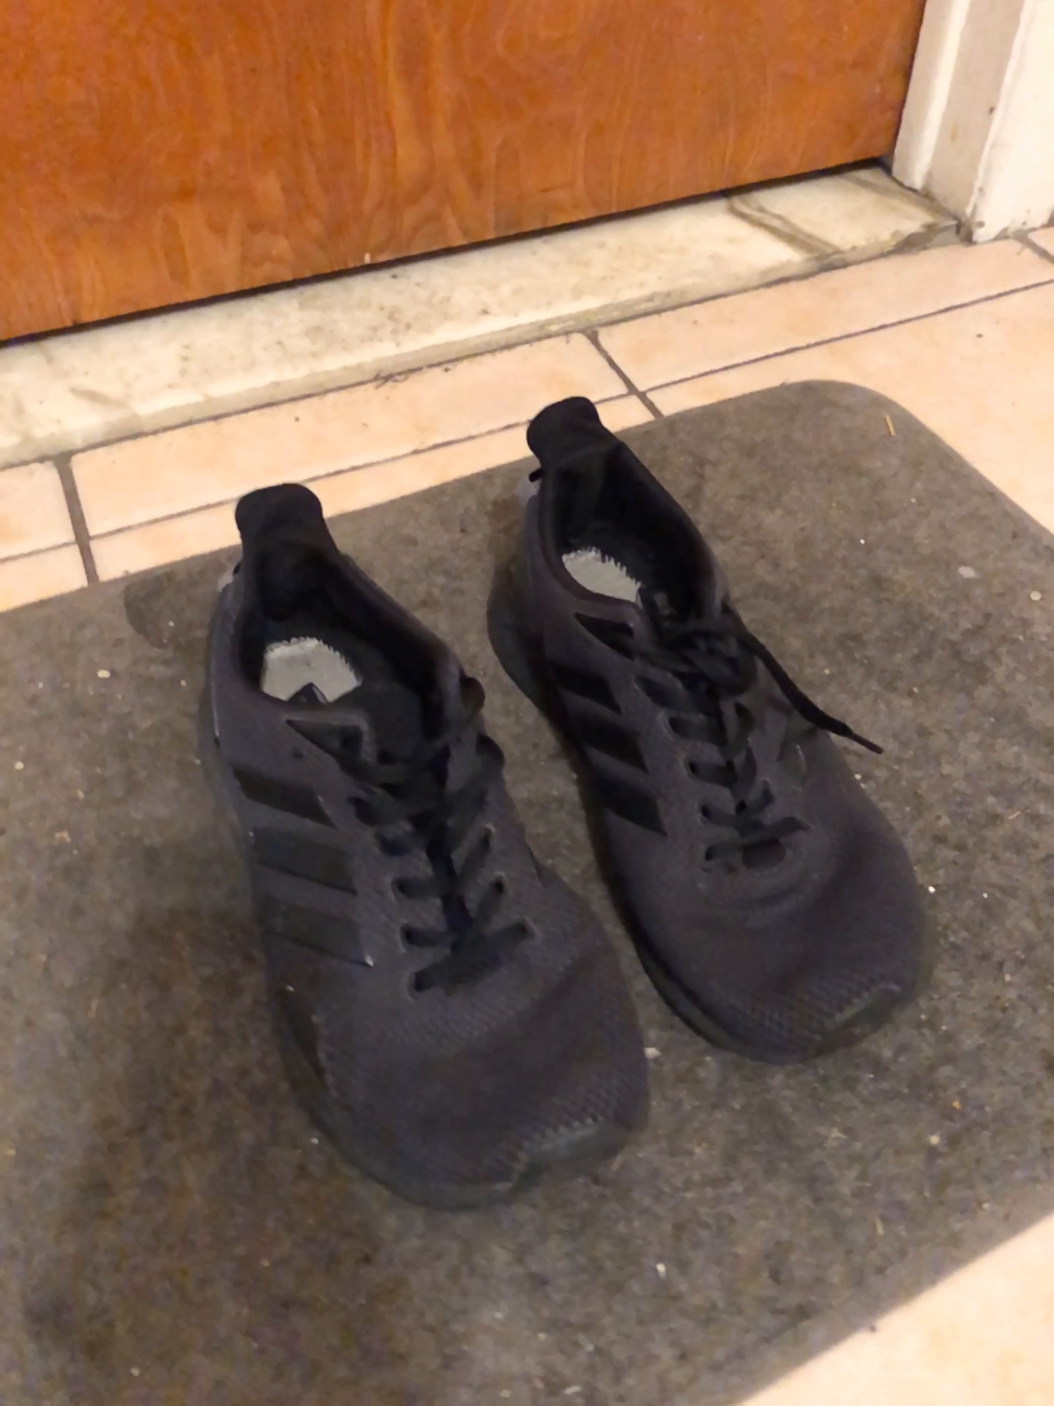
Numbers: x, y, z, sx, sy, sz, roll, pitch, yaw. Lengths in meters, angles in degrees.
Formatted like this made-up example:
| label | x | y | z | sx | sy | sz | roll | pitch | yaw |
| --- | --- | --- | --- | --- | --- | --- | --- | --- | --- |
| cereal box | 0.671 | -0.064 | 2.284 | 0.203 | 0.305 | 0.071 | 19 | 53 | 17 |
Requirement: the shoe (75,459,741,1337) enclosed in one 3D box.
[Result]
| label | x | y | z | sx | sy | sz | roll | pitch | yaw |
| --- | --- | --- | --- | --- | --- | --- | --- | --- | --- |
| shoe | -0.057 | 0.048 | 0.406 | 0.110 | 0.119 | 0.262 | -19 | 52 | -21 |

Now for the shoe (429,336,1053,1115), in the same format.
| label | x | y | z | sx | sy | sz | roll | pitch | yaw |
| --- | --- | --- | --- | --- | --- | --- | --- | --- | --- |
| shoe | 0.060 | -0.007 | 0.439 | 0.110 | 0.119 | 0.262 | -17 | 51 | -13 |
